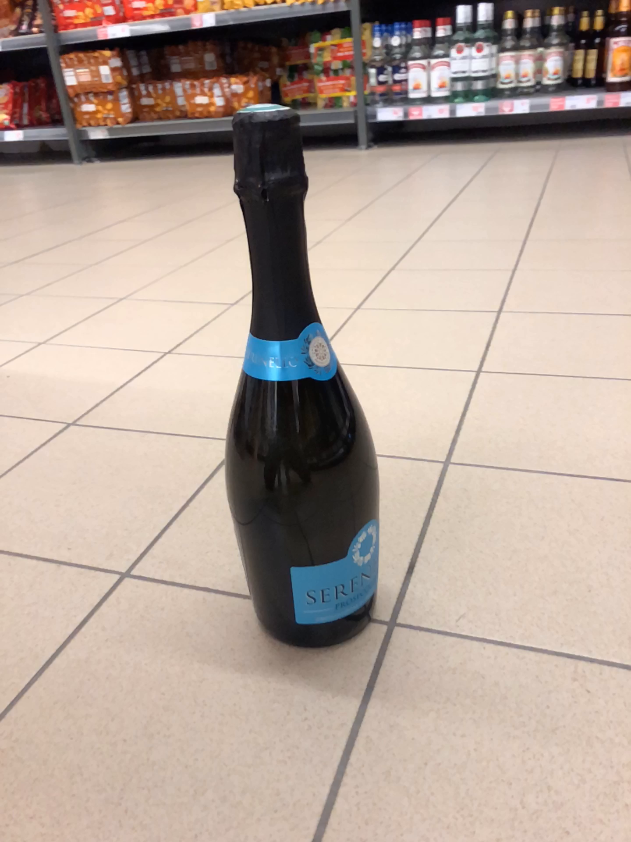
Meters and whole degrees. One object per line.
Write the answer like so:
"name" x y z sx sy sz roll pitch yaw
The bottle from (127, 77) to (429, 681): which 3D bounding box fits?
"bottle" -0.004 -0.017 0.383 0.090 0.298 0.101 15 33 35
